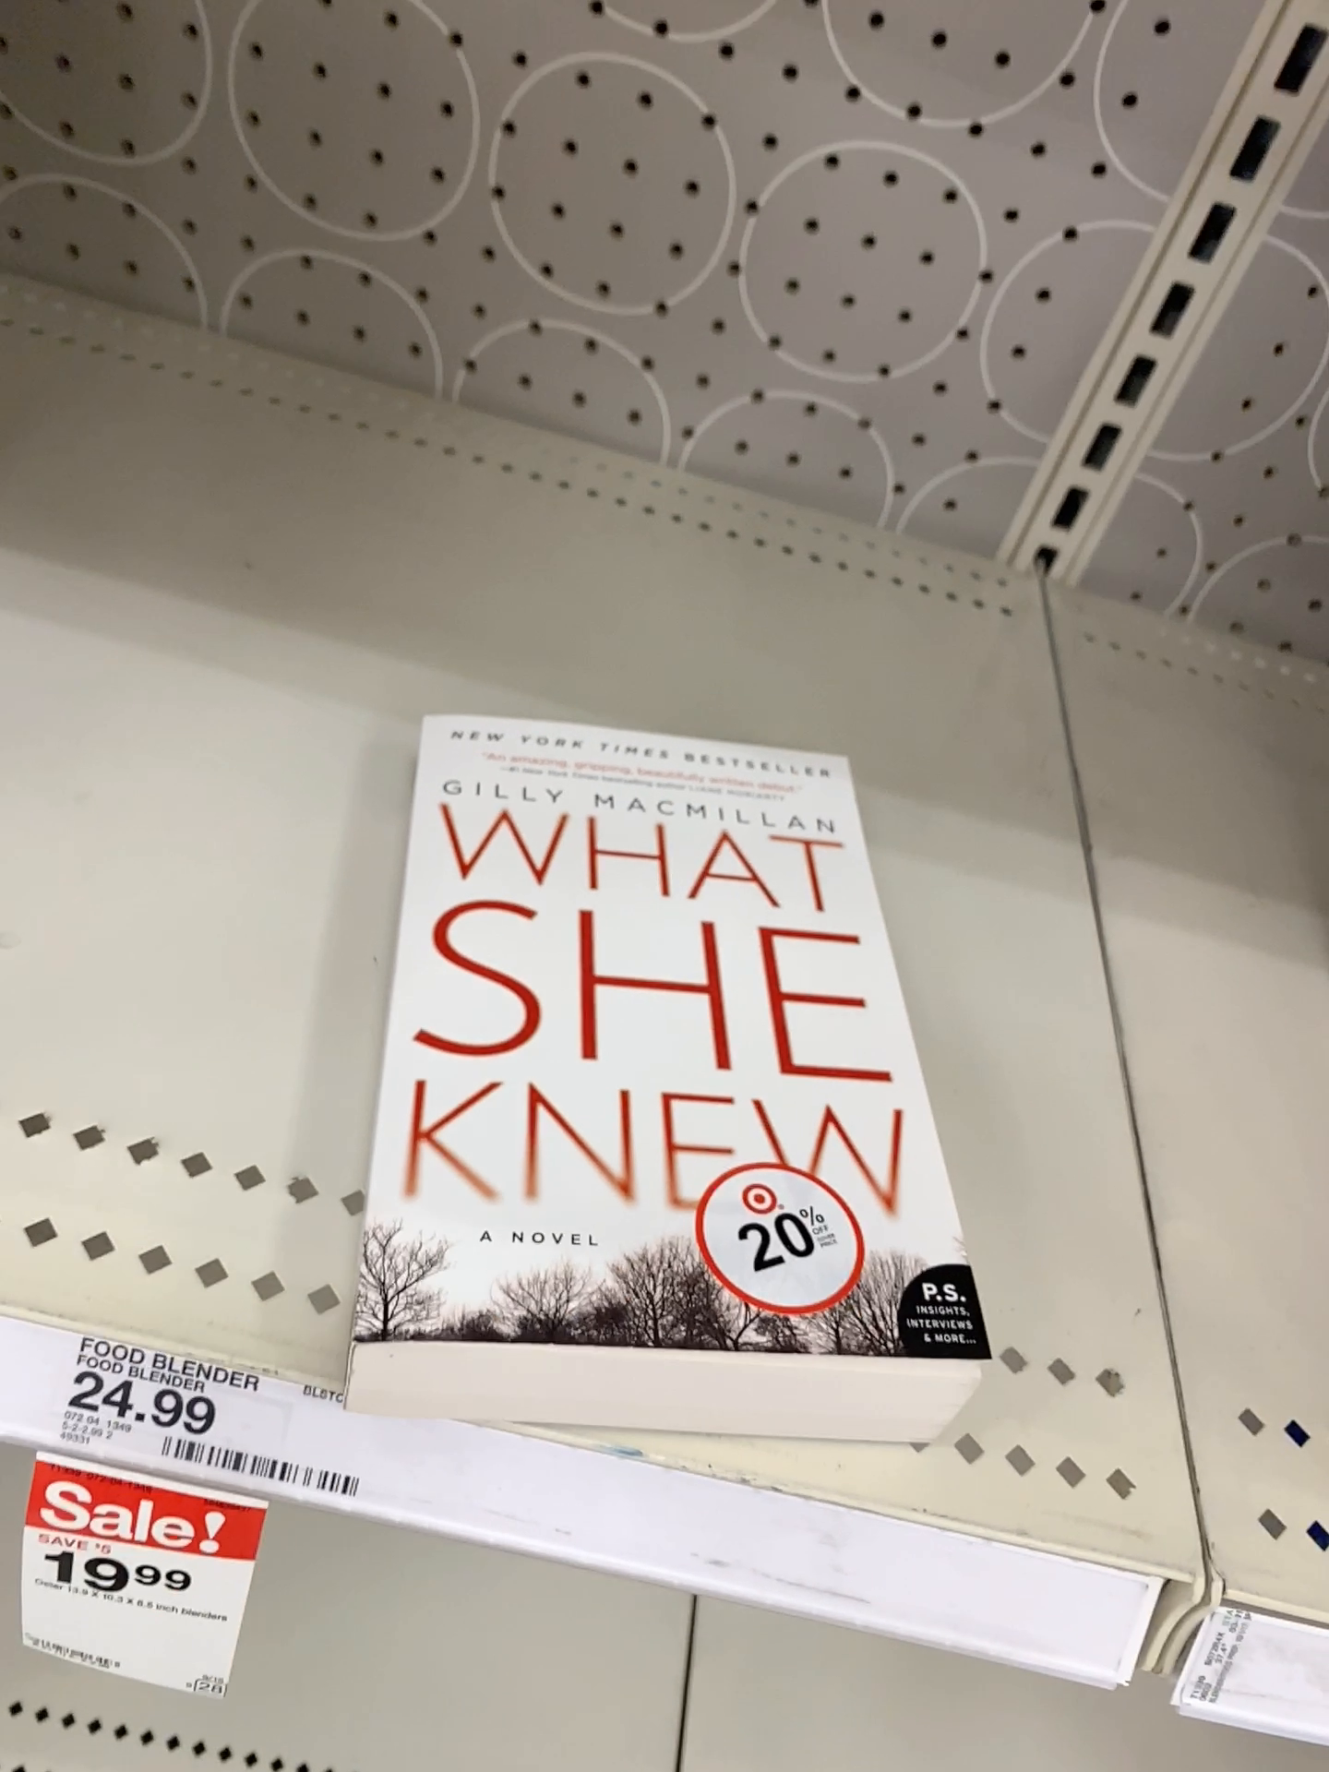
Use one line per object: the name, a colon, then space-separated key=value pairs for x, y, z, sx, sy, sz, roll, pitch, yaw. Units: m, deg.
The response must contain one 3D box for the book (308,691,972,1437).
book: x=-0.011 y=0.033 z=0.352 sx=0.130 sy=0.041 sz=0.198 roll=6 pitch=43 yaw=-10
